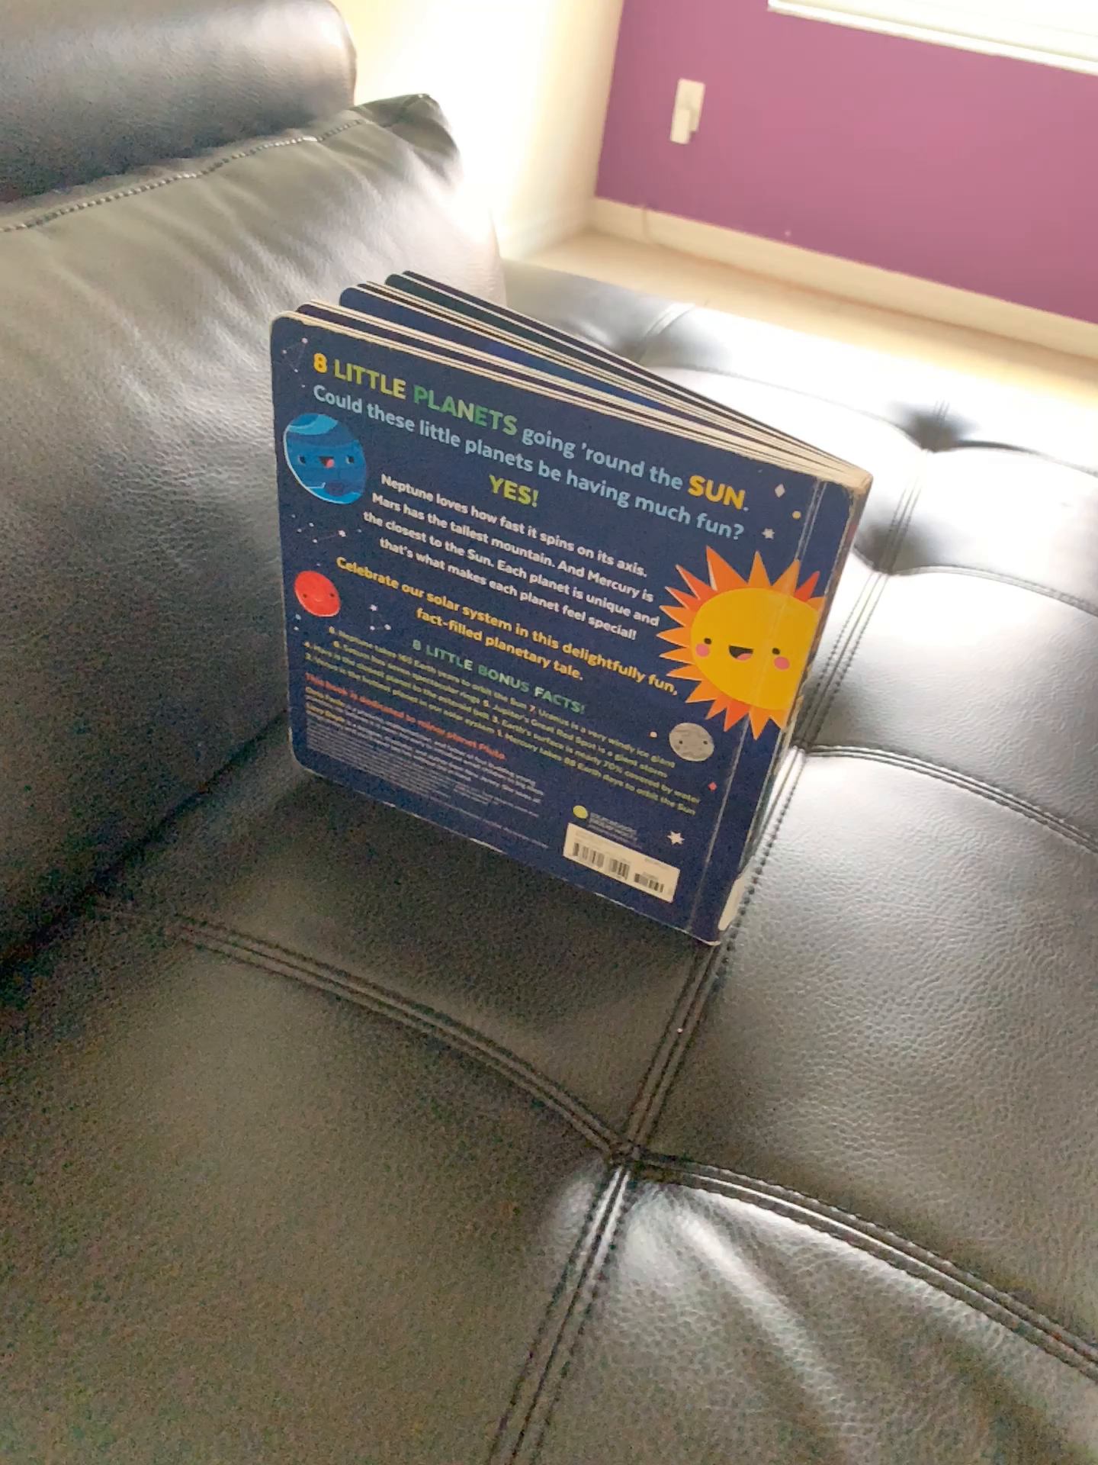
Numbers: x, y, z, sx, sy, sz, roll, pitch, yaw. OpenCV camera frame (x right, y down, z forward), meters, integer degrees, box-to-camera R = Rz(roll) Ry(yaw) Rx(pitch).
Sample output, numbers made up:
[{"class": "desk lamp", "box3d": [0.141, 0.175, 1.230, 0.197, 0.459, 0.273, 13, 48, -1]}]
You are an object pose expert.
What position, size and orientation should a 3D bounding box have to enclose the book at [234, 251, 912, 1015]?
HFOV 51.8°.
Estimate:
[{"class": "book", "box3d": [-0.006, -0.037, 0.427, 0.208, 0.211, 0.079, 27, 44, 22]}]
